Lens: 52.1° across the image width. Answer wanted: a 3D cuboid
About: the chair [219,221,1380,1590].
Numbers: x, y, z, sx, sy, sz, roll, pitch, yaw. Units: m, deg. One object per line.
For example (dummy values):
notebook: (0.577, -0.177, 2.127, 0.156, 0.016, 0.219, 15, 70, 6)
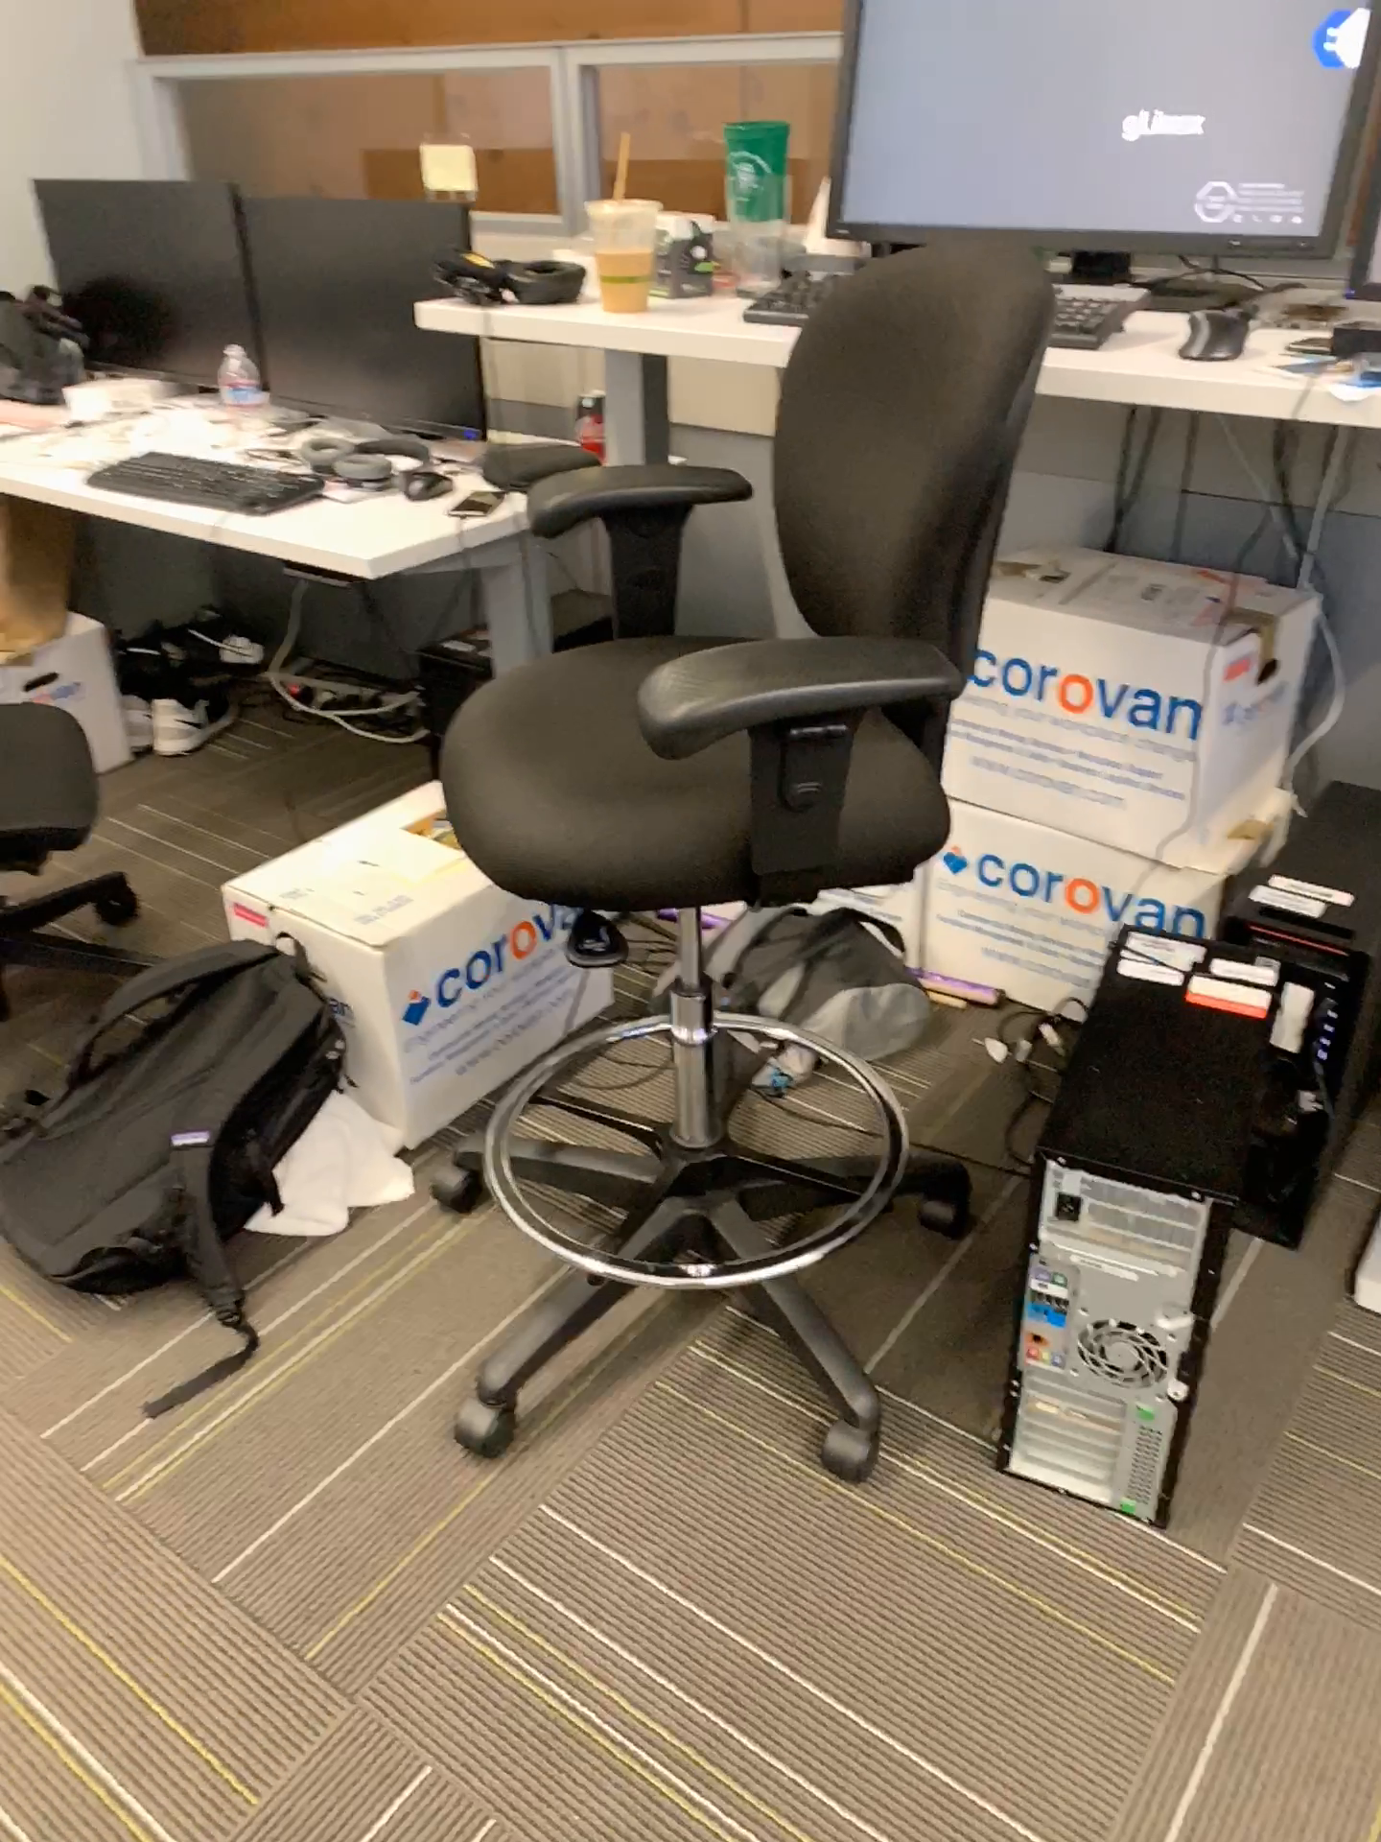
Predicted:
chair: (0.022, -0.076, 1.469, 0.770, 1.103, 0.714, -10, 31, -15)
